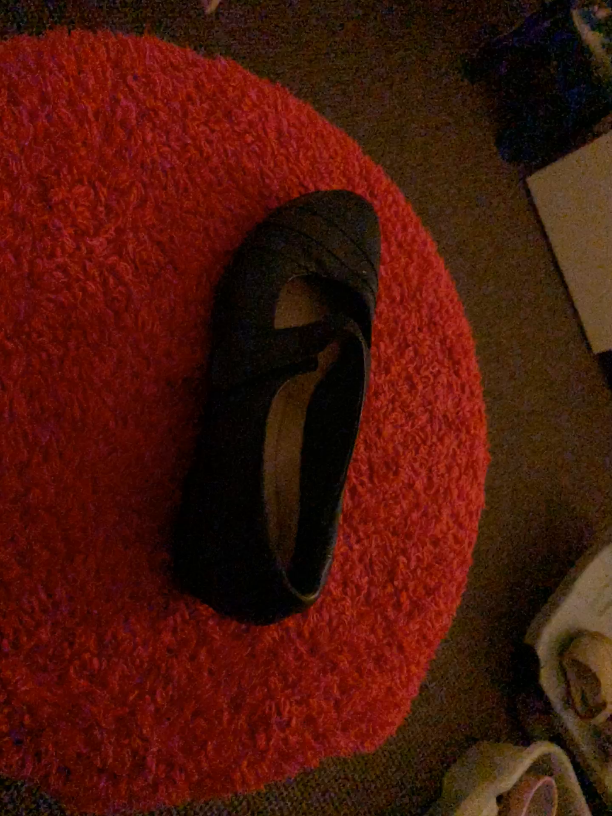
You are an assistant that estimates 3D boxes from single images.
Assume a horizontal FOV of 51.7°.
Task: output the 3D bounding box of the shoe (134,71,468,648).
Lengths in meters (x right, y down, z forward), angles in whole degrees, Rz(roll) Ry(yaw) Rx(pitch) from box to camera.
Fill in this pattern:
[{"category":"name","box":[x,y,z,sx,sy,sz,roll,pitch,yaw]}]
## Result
[{"category":"shoe","box":[0.008,-0.029,0.338,0.093,0.080,0.276,25,65,-28]}]
